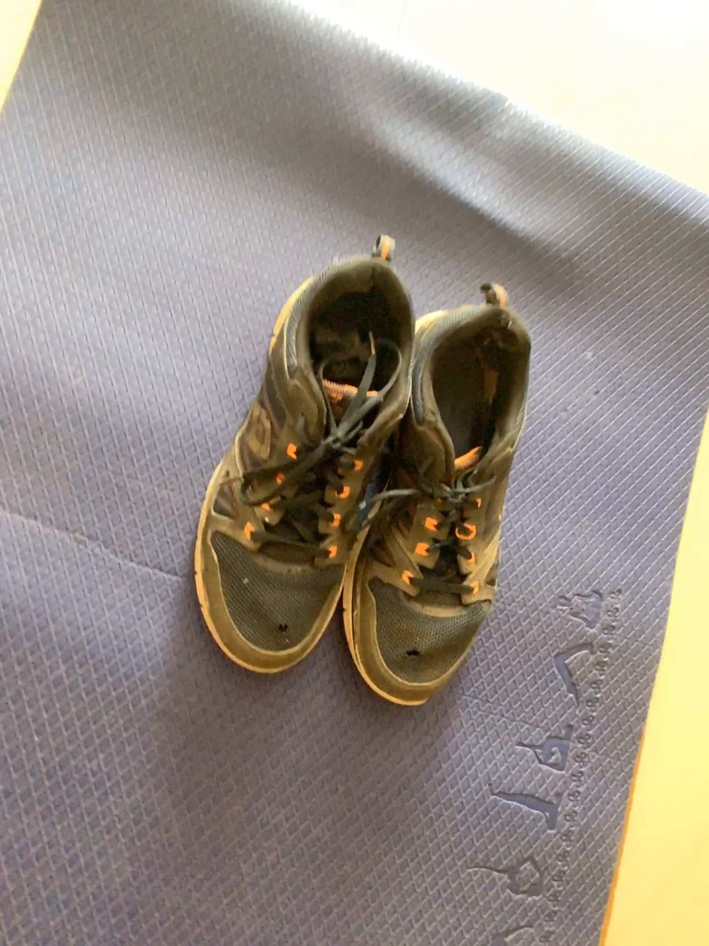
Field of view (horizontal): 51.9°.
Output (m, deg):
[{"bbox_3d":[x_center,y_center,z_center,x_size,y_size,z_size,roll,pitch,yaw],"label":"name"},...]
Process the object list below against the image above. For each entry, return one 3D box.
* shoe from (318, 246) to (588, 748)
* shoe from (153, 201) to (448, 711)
[{"bbox_3d":[0.068,0.016,0.522,0.110,0.100,0.310,14,80,-11],"label":"shoe"},{"bbox_3d":[-0.039,-0.012,0.524,0.100,0.100,0.320,20,79,-17],"label":"shoe"}]
